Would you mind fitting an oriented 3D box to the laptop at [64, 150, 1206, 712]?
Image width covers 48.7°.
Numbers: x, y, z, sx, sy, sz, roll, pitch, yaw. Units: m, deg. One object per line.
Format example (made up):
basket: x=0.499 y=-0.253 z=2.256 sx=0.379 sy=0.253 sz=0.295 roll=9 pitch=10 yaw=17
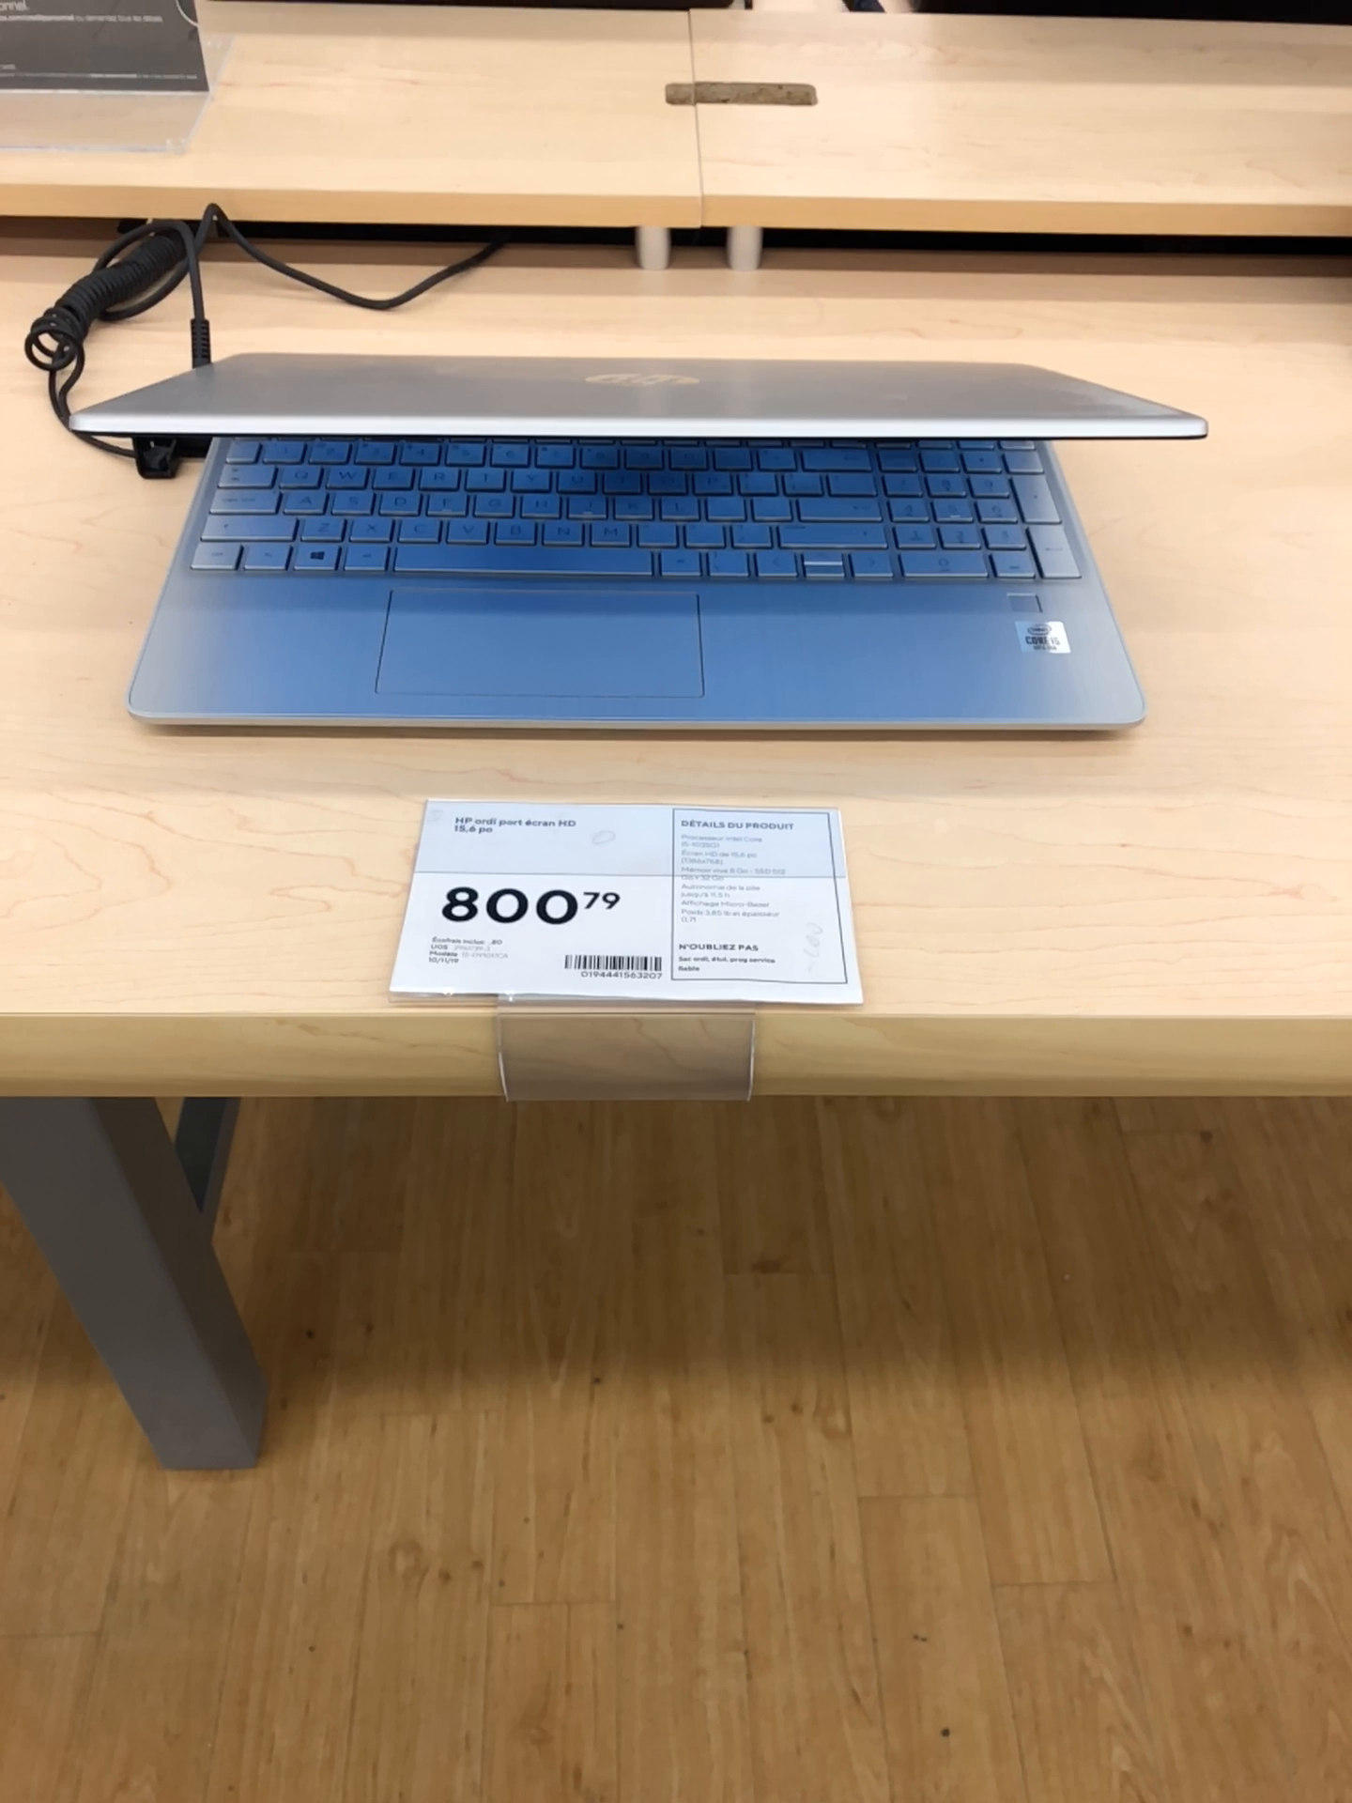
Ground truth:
laptop: x=-0.012 y=-0.179 z=0.549 sx=0.340 sy=0.086 sz=0.224 roll=0 pitch=49 yaw=-3
